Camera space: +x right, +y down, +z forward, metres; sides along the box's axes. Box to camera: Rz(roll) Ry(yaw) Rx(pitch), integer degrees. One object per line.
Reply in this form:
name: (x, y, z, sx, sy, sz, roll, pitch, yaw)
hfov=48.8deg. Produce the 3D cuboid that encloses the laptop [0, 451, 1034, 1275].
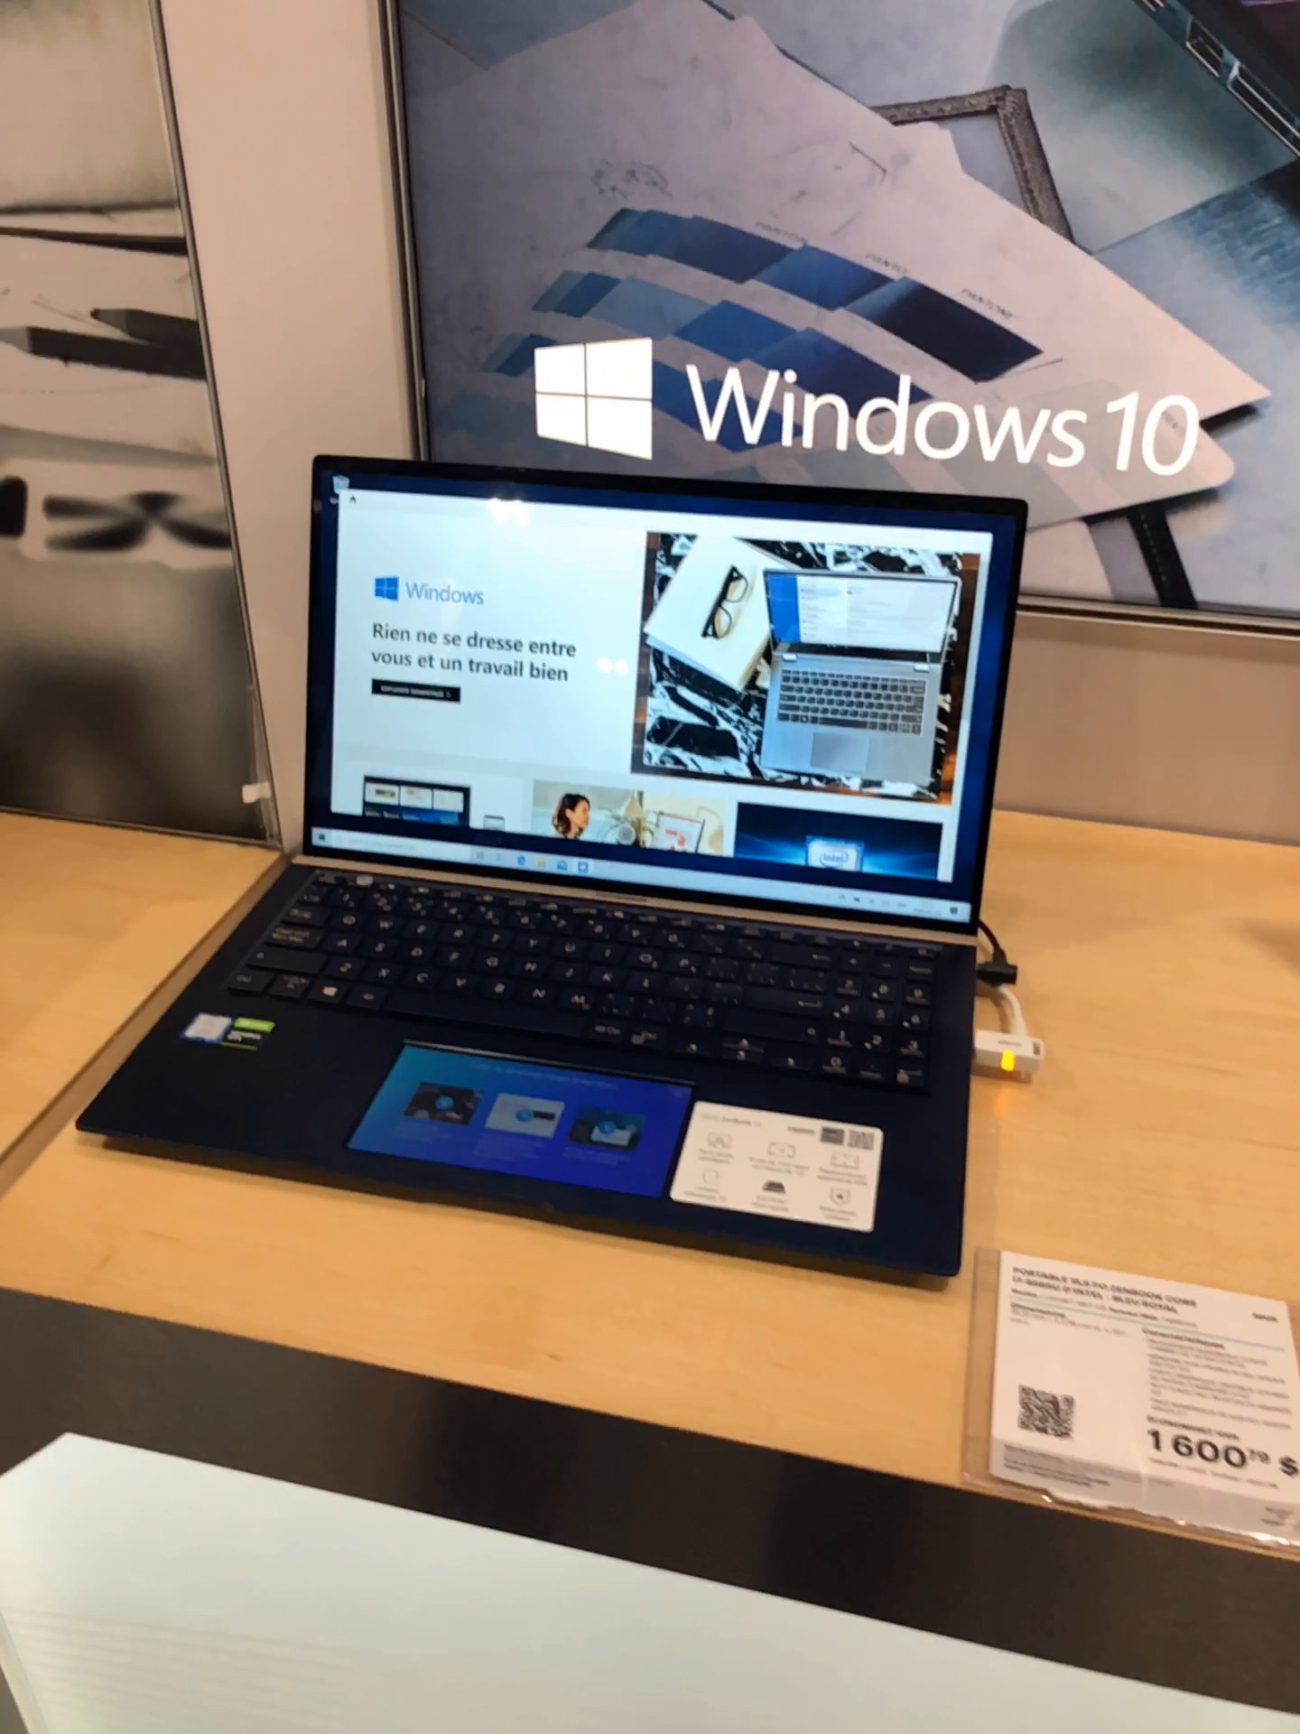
laptop: (-0.028, -0.030, 0.596, 0.338, 0.183, 0.274, 7, 32, 10)
